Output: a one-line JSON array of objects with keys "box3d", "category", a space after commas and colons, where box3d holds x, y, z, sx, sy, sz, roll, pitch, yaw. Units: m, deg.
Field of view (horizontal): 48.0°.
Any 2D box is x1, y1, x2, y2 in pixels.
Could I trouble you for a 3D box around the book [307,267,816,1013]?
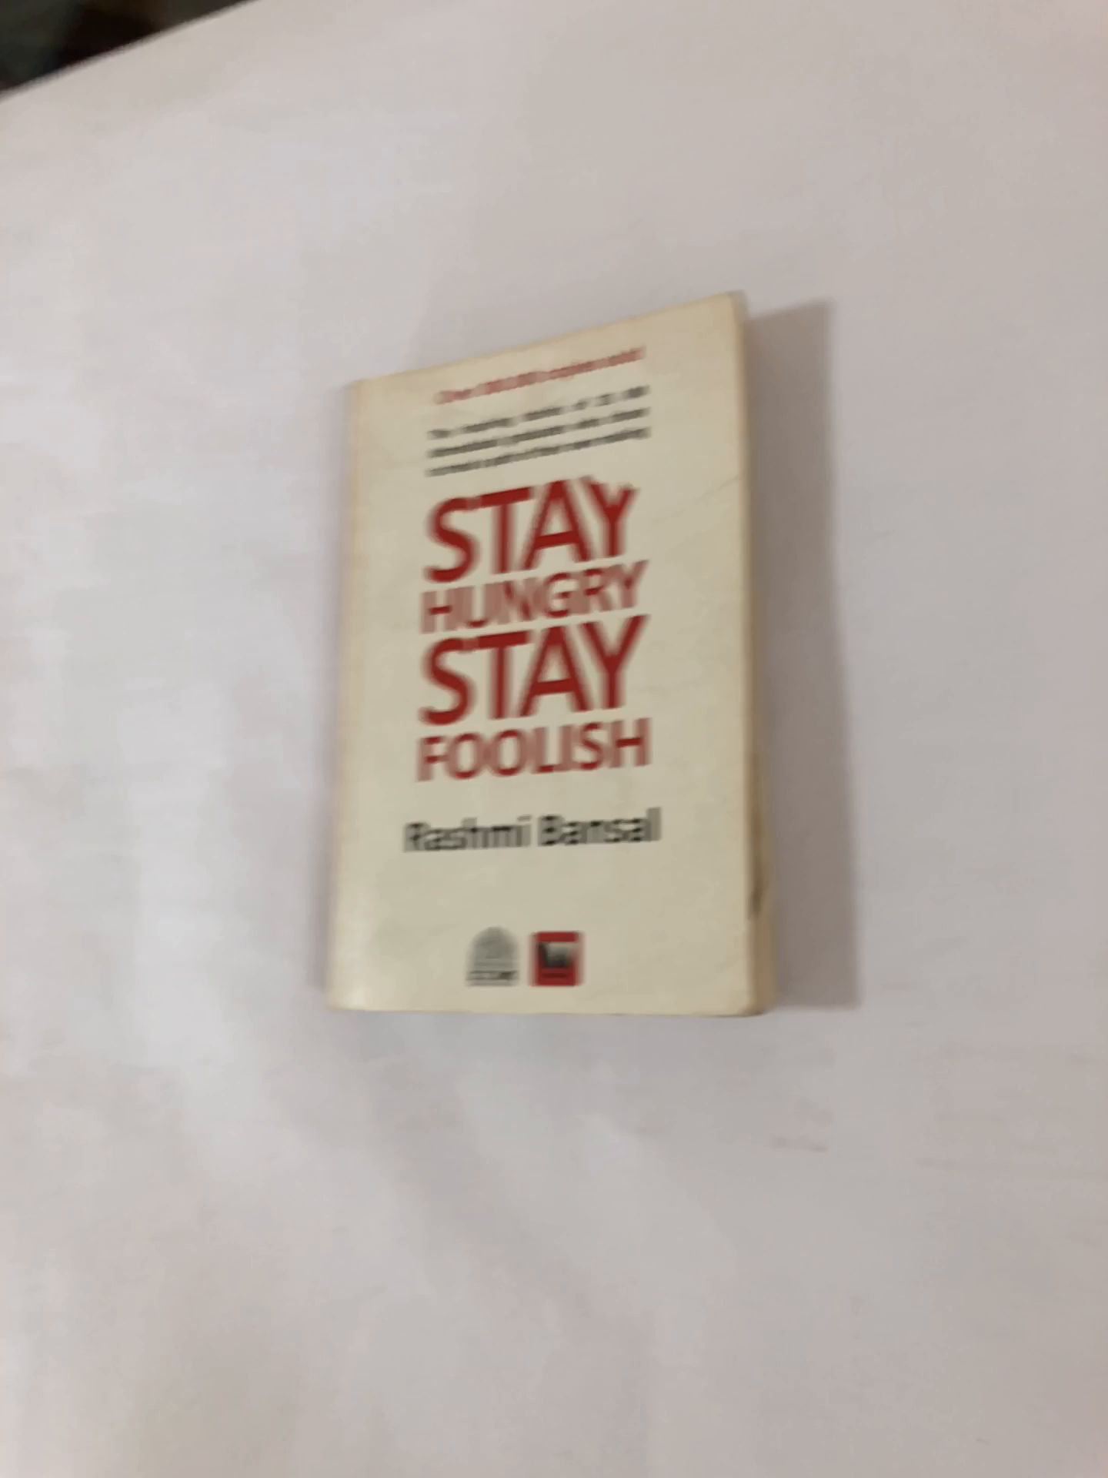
[{"box3d": [0.001, -0.021, 0.349, 0.130, 0.040, 0.190, -5, 77, 25], "category": "book"}]
